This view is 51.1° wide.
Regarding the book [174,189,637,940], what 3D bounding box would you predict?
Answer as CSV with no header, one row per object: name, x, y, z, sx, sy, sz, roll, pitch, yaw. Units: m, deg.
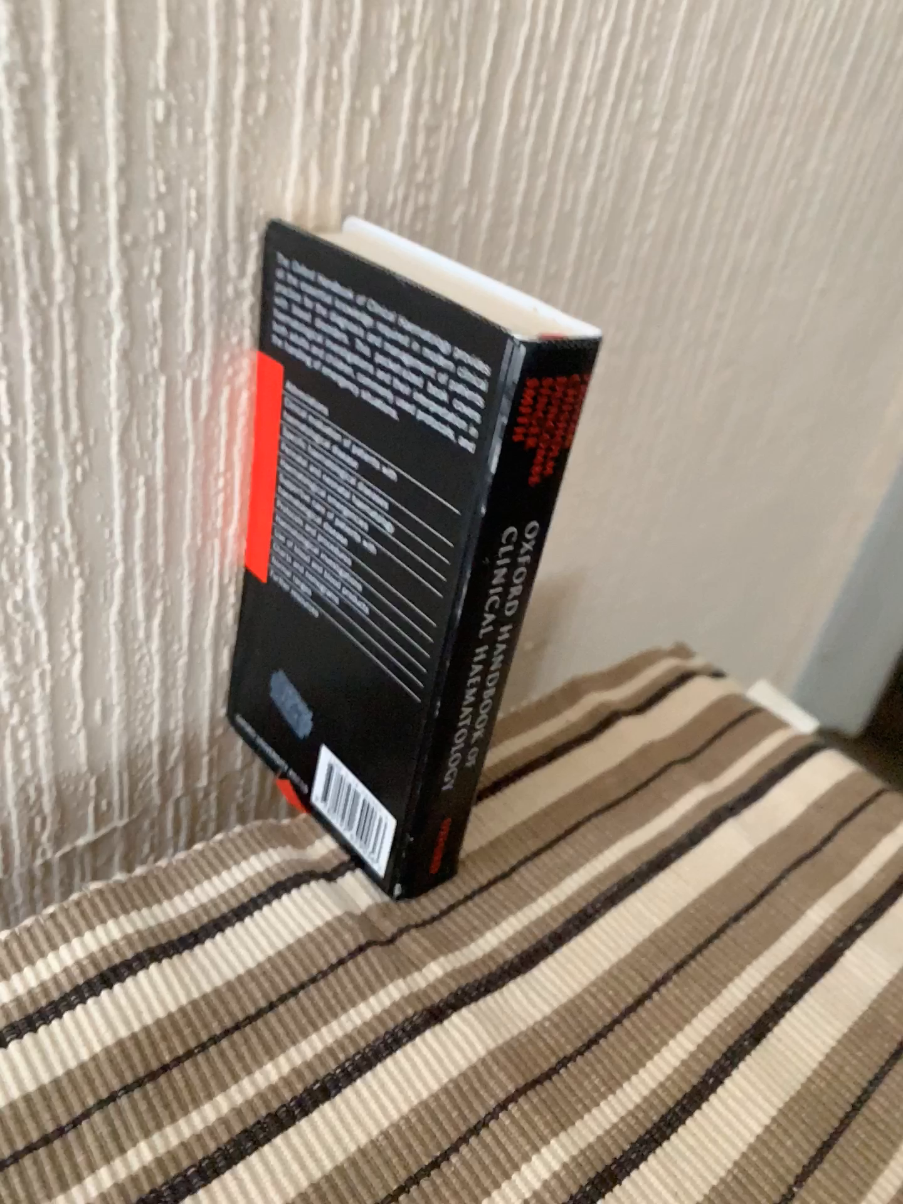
book,-0.030,-0.009,0.288,0.040,0.188,0.120,-20,44,-42
